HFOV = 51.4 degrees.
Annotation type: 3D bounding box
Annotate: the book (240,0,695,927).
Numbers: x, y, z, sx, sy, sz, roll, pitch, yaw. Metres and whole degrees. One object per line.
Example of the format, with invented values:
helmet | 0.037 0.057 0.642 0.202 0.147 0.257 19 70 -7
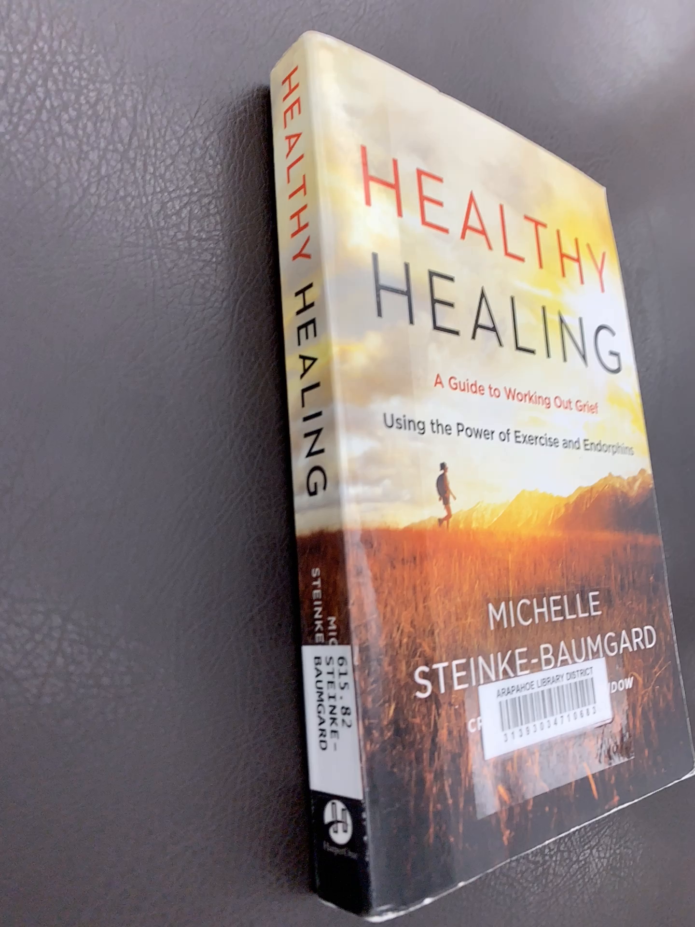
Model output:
book | 0.042 -0.007 0.210 0.141 0.027 0.212 5 76 -42
